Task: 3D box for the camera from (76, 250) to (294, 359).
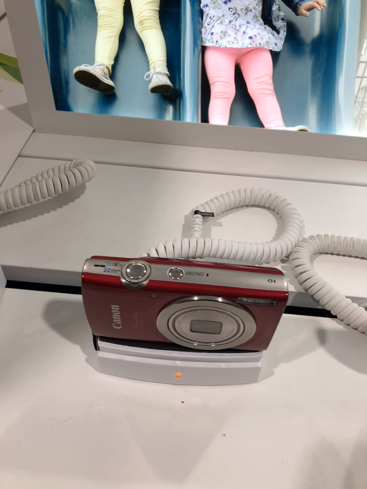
[{"bbox_3d":[0.000,0.031,0.199,0.093,0.050,0.022,4,46,0],"label":"camera"}]
